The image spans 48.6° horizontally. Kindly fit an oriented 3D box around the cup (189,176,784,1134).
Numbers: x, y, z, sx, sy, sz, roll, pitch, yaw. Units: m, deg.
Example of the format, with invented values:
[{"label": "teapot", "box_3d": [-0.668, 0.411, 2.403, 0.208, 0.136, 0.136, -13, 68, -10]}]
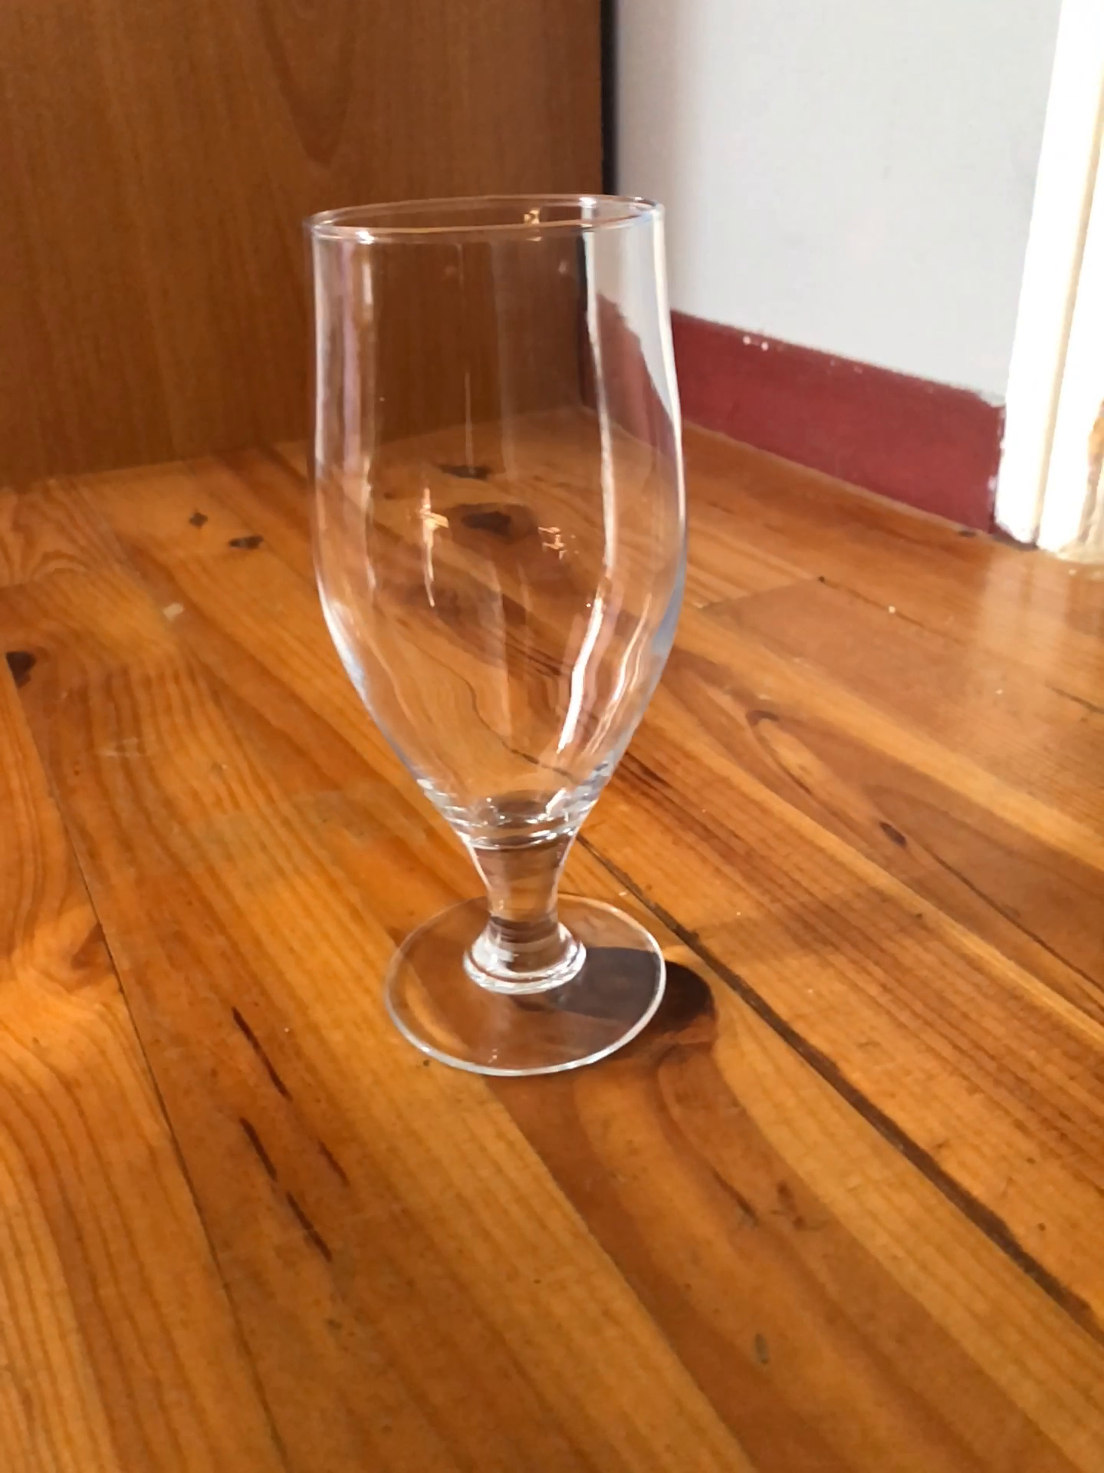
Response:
[{"label": "cup", "box_3d": [-0.013, -0.021, 0.276, 0.083, 0.183, 0.081, -1, 29, 0]}]
